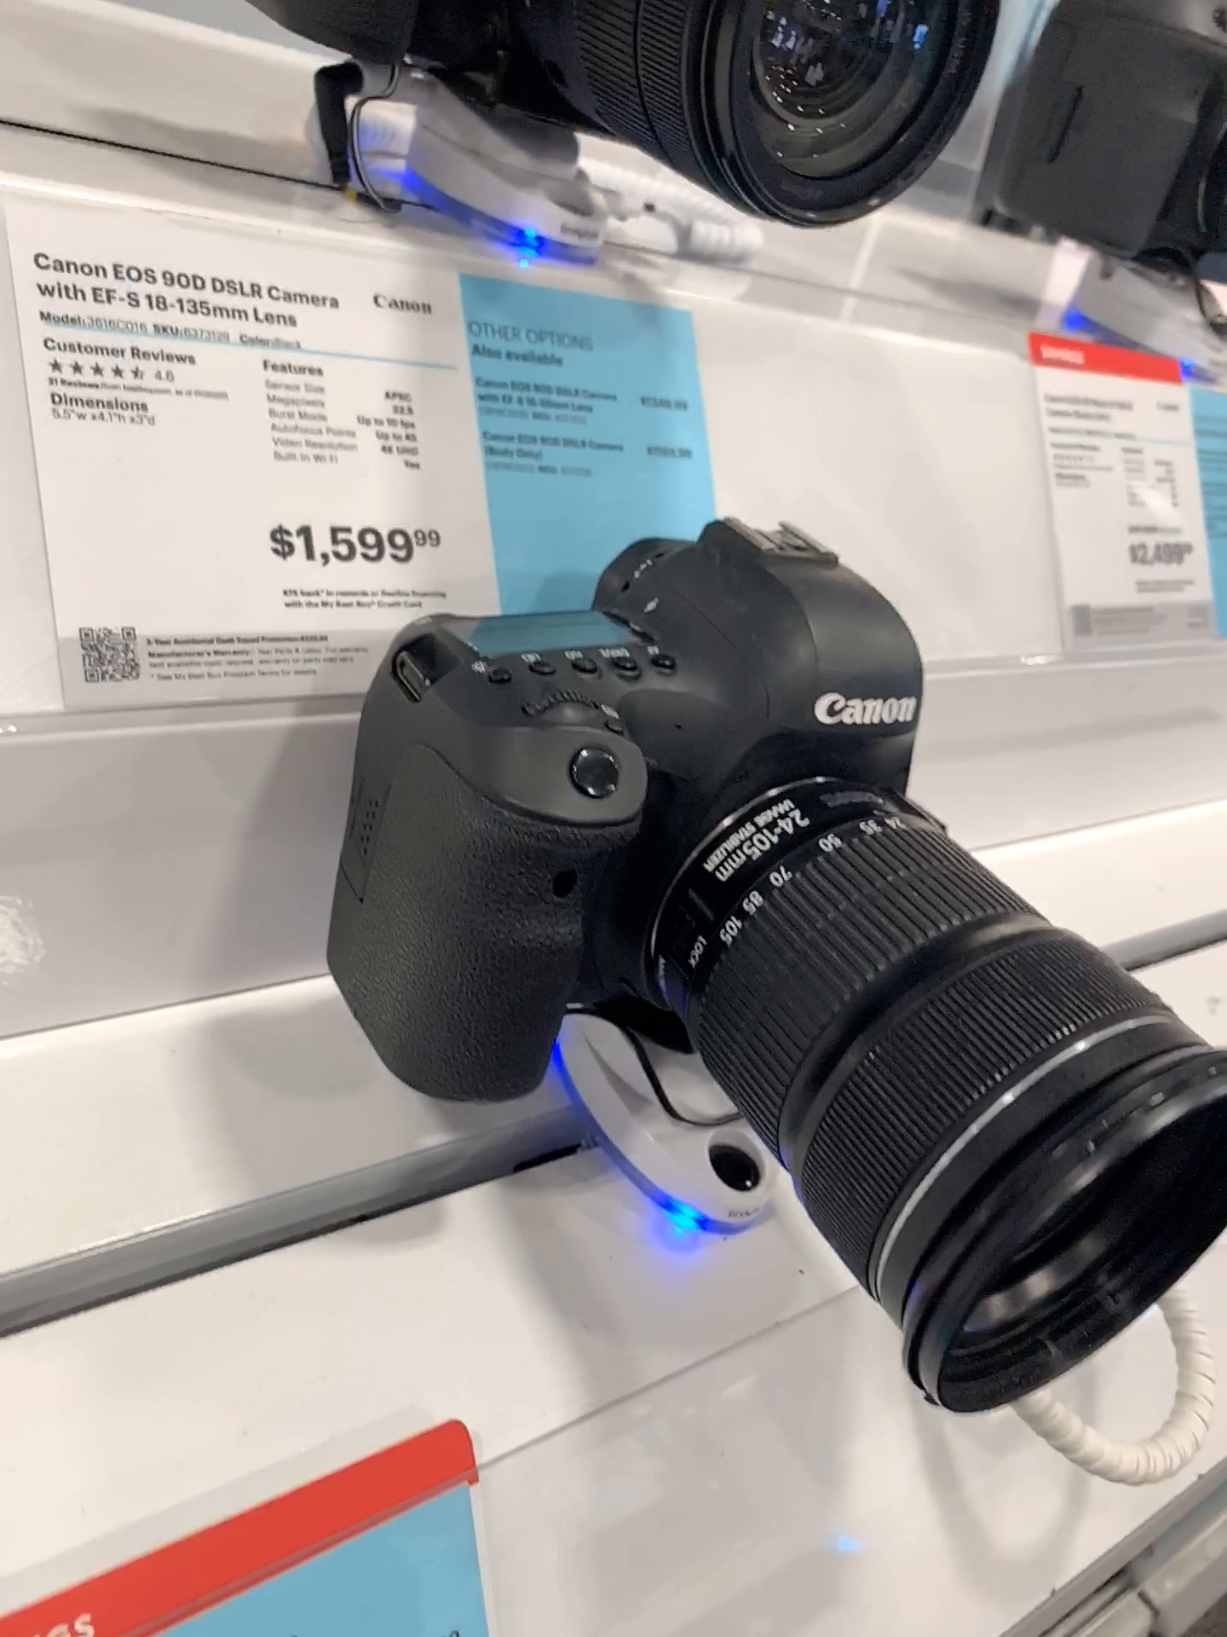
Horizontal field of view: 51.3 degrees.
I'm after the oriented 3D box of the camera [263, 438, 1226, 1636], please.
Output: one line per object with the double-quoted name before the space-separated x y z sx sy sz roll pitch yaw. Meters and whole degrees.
"camera" 0.035 0.025 0.254 0.137 0.123 0.180 -7 41 -35
